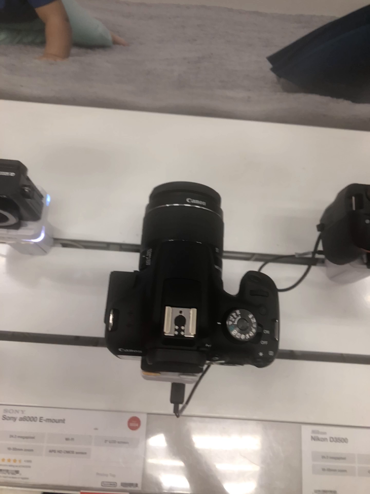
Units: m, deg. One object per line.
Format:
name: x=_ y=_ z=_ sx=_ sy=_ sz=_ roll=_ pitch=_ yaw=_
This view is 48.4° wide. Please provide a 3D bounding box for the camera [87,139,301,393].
camera: x=0.010 y=0.019 z=0.332 sx=0.140 sy=0.090 sz=0.170 roll=5 pitch=75 yaw=-2
